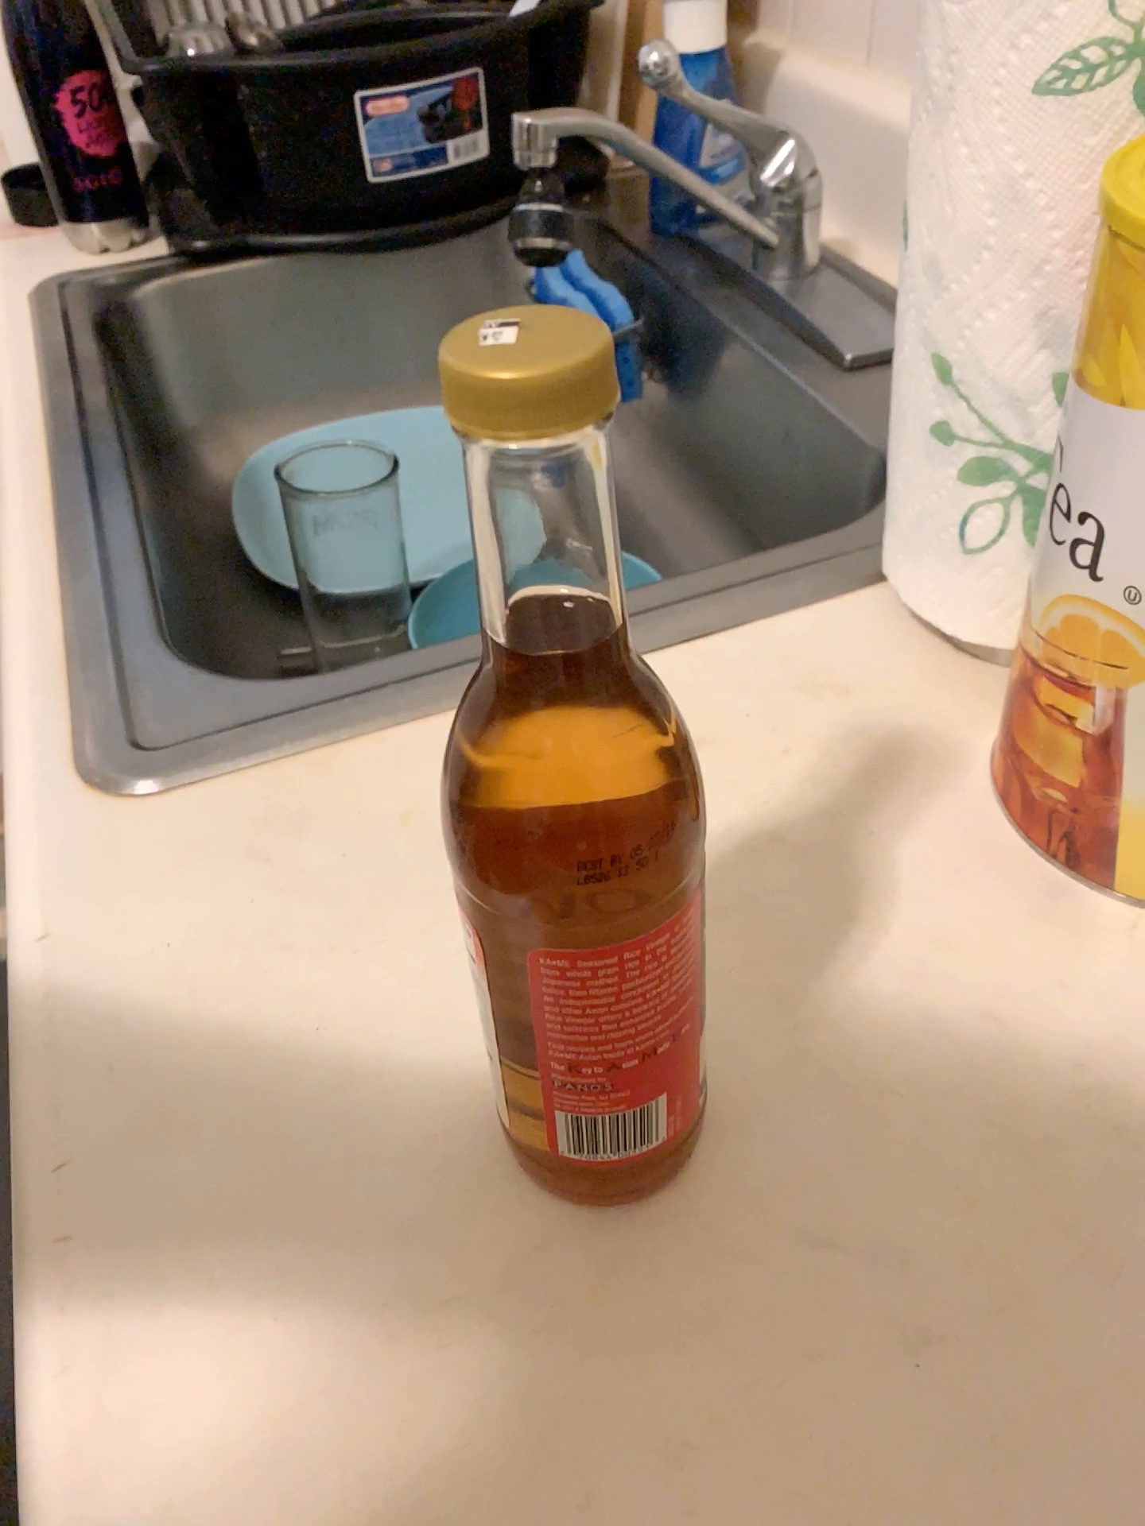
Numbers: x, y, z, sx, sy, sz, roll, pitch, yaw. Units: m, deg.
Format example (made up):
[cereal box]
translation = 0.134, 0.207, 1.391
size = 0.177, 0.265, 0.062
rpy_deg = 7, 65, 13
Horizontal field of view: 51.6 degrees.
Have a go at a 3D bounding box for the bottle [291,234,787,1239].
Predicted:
[bottle]
translation = 0.006, 0.016, 0.271
size = 0.070, 0.239, 0.070
rpy_deg = -3, 42, 2
